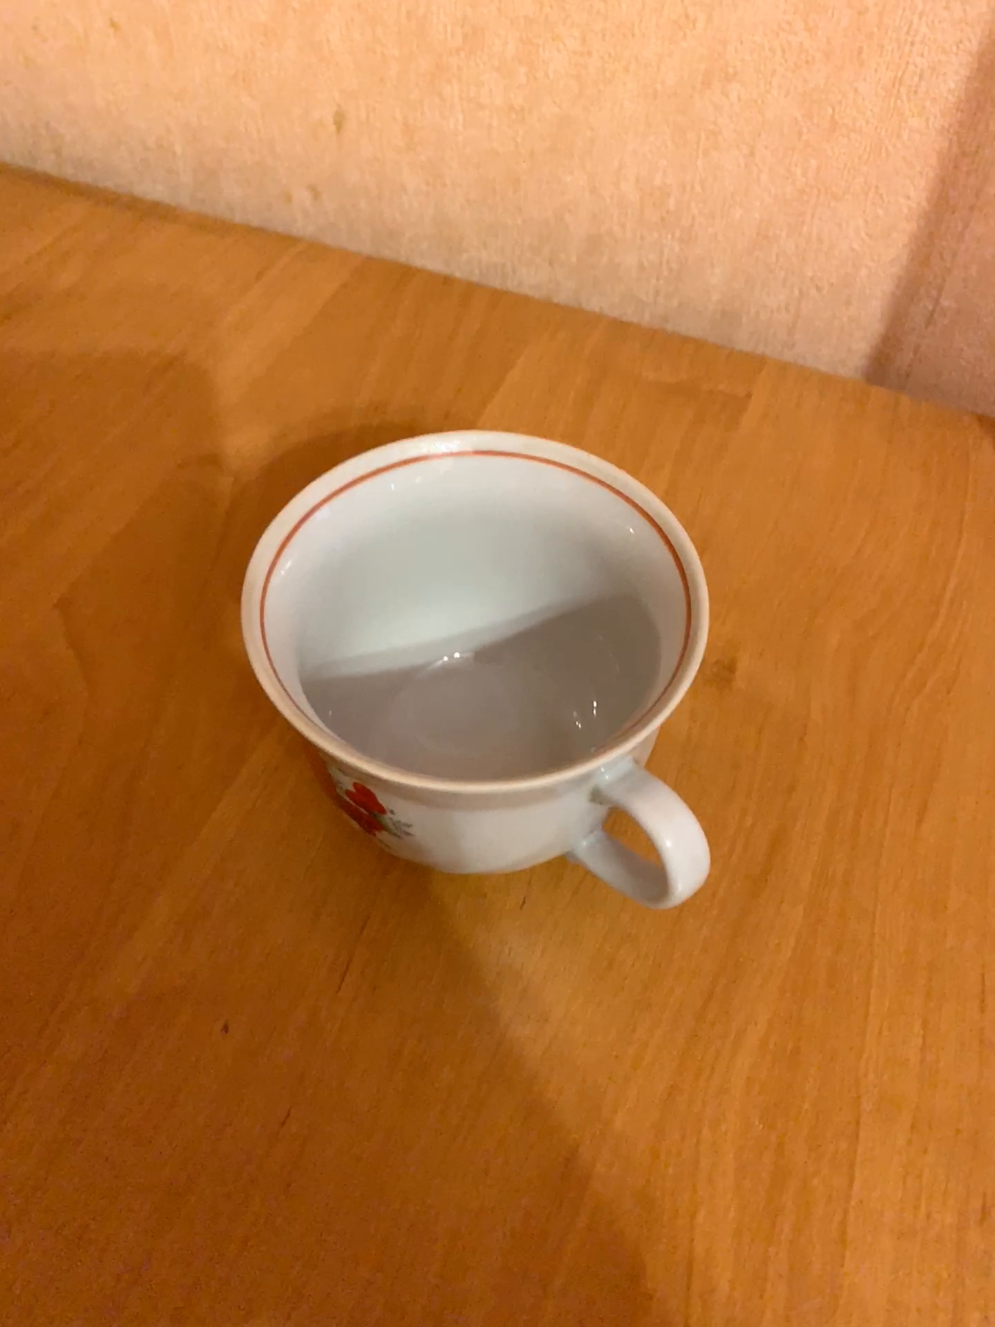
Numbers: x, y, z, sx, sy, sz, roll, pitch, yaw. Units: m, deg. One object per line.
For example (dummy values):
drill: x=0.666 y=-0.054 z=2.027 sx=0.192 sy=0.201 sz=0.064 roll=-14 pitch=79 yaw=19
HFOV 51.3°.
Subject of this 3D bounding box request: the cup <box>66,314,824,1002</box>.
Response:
cup: x=-0.009 y=-0.007 z=0.208 sx=0.109 sy=0.056 sz=0.083 roll=31 pitch=58 yaw=21
